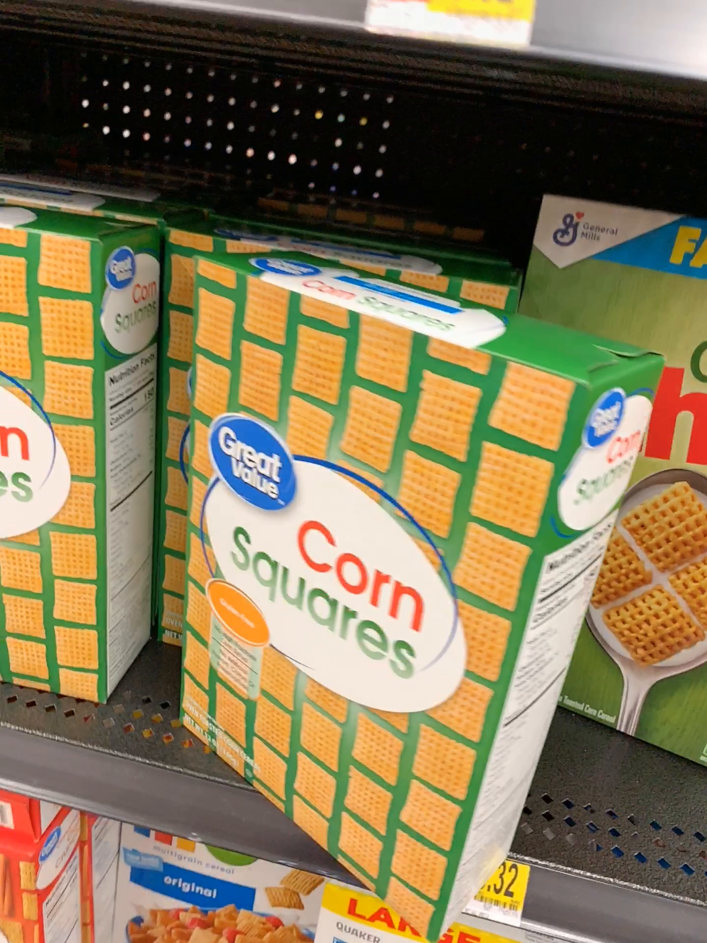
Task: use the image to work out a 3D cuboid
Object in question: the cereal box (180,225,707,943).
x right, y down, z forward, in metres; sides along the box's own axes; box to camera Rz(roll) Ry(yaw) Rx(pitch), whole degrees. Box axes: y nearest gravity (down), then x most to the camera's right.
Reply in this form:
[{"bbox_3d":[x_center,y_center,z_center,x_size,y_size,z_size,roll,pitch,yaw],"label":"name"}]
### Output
[{"bbox_3d":[0.013,0.050,0.357,0.200,0.289,0.070,27,31,32],"label":"cereal box"}]
